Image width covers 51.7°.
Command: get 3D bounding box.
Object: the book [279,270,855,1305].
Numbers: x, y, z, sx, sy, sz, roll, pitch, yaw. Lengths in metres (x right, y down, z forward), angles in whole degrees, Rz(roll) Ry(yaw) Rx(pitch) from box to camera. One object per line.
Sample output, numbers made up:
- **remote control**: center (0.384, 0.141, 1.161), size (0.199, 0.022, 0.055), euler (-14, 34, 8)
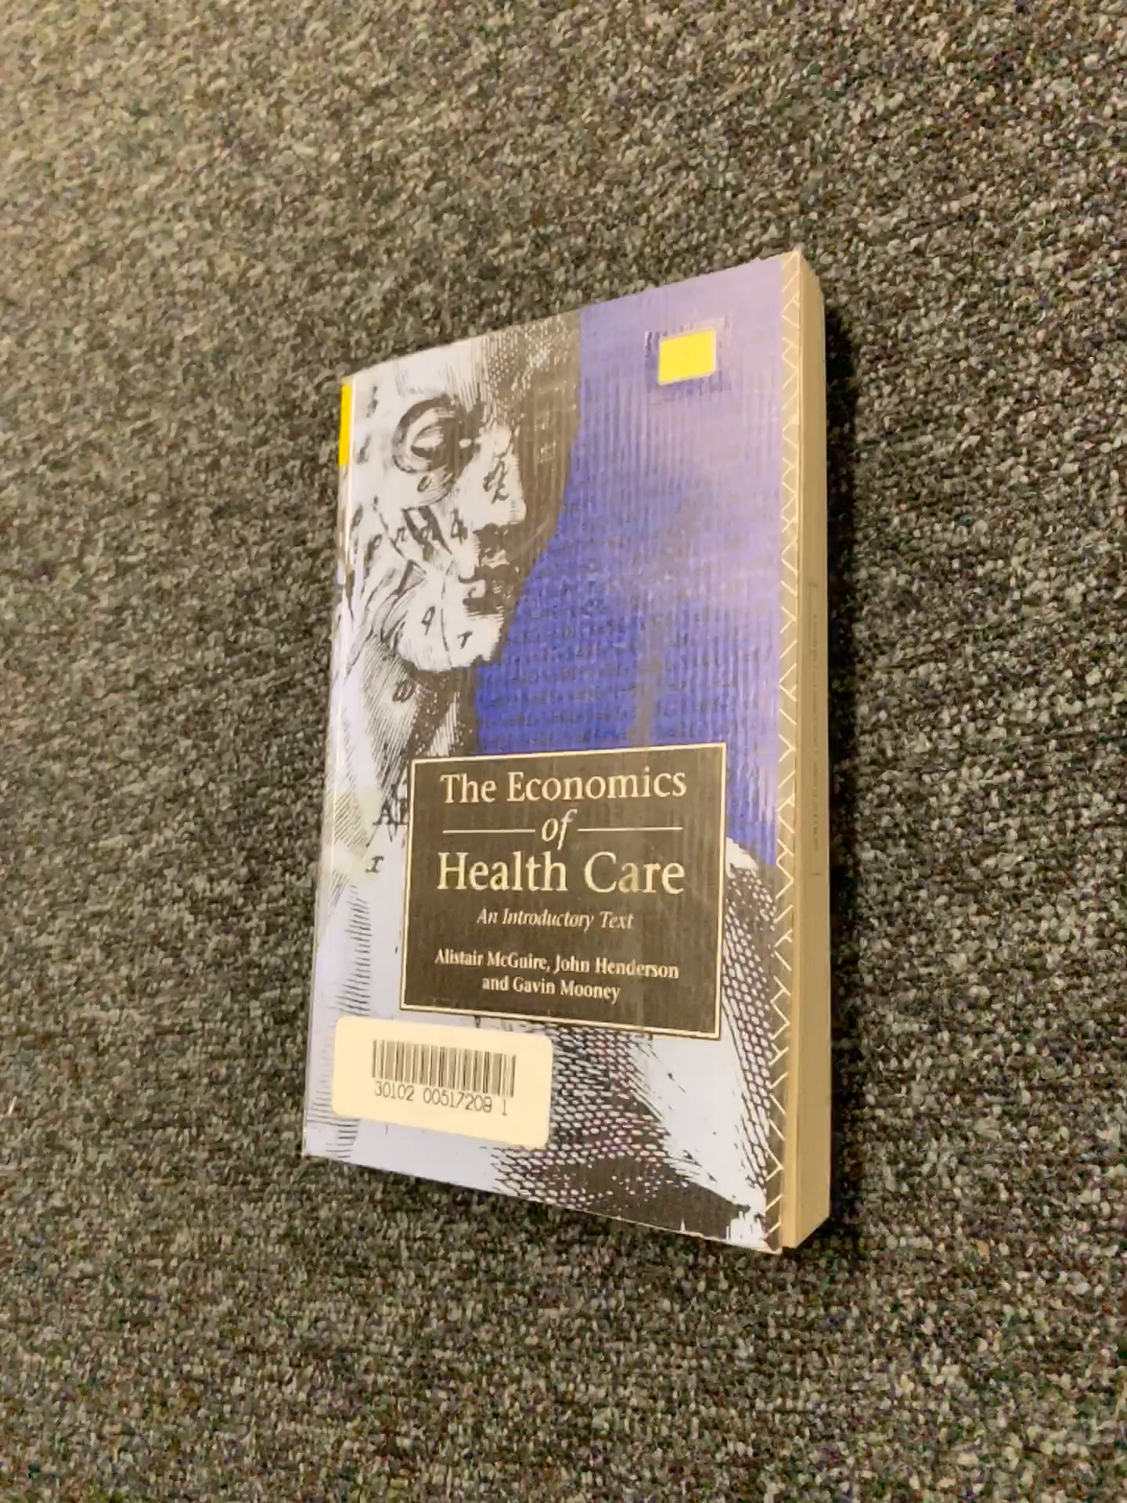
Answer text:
- **book**: center (-0.001, 0.005, 0.280), size (0.136, 0.030, 0.207), euler (-3, 81, 32)
